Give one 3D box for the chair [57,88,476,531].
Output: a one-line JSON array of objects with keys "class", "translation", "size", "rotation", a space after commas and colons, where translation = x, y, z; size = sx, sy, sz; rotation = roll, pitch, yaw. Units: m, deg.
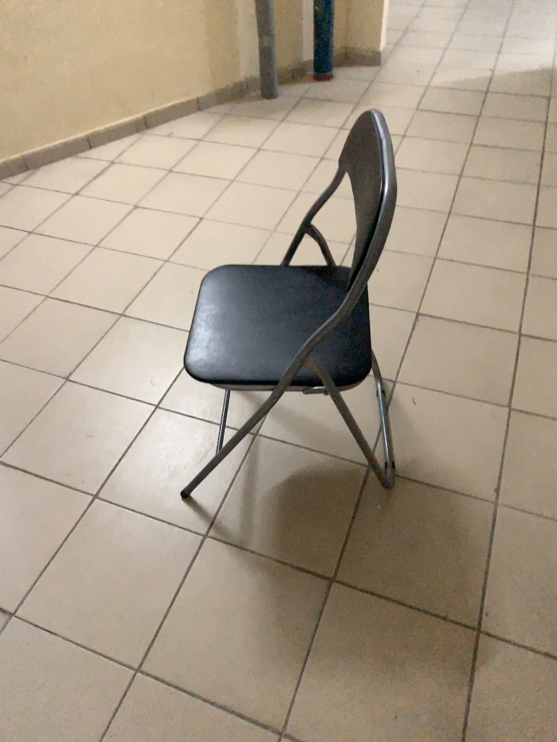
[{"class": "chair", "translation": [0.015, -0.111, 1.212], "size": [0.560, 0.727, 0.573], "rotation": [1, 46, 5]}]
